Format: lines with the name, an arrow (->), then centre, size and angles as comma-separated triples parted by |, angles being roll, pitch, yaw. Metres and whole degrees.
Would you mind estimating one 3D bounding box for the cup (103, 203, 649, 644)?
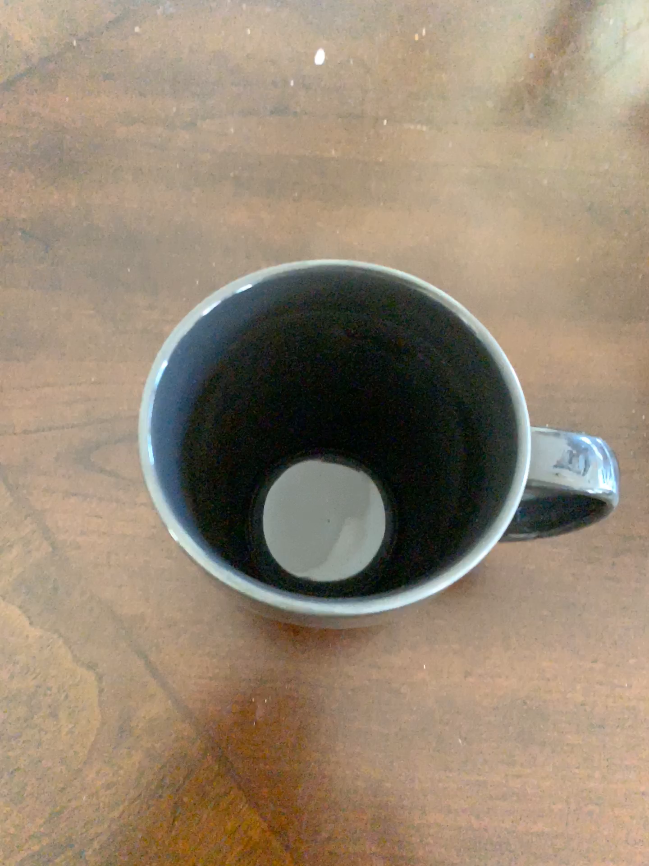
cup -> 0.014, 0.007, 0.182 | 0.107, 0.096, 0.089 | 0, 70, 0
